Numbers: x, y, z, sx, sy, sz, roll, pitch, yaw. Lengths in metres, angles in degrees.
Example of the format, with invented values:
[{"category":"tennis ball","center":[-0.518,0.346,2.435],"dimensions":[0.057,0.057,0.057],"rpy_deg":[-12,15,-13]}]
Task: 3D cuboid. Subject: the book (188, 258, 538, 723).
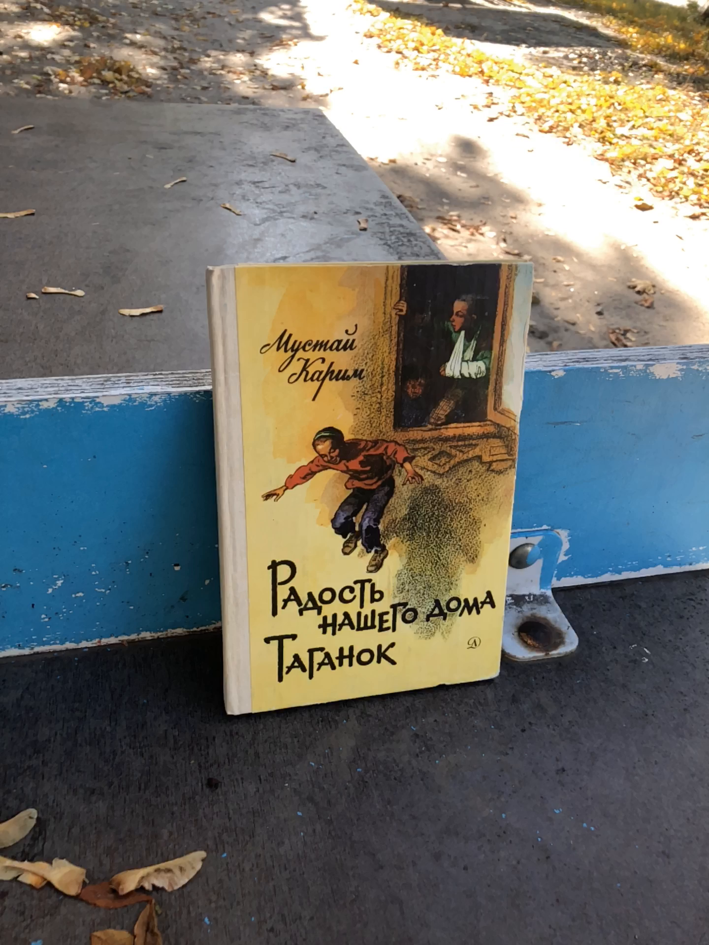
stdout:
[{"category":"book","center":[0.006,0.010,0.379],"dimensions":[0.155,0.218,0.020],"rpy_deg":[-5,18,-13]}]
